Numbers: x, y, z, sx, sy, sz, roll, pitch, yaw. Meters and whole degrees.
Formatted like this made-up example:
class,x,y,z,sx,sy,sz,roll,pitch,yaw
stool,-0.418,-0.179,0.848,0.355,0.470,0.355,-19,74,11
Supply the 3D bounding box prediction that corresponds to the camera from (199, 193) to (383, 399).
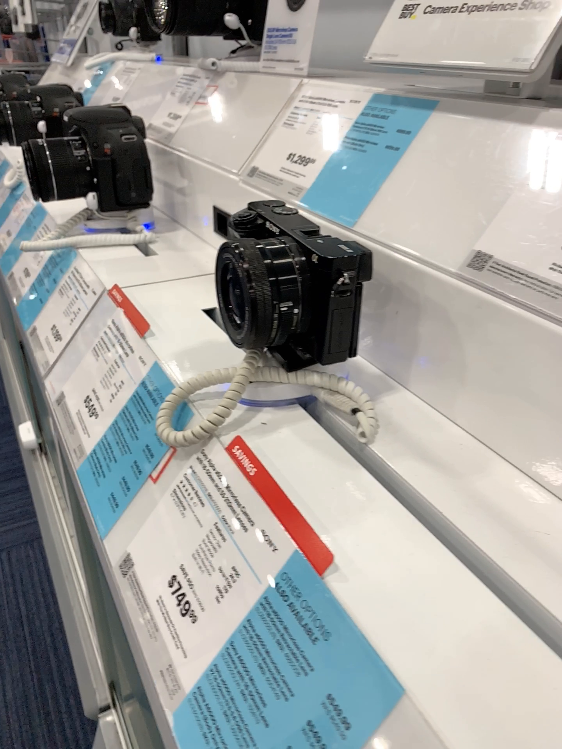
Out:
class,x,y,z,sx,sy,sz,roll,pitch,yaw
camera,-0.002,-0.056,0.361,0.060,0.080,0.131,-10,31,-21
